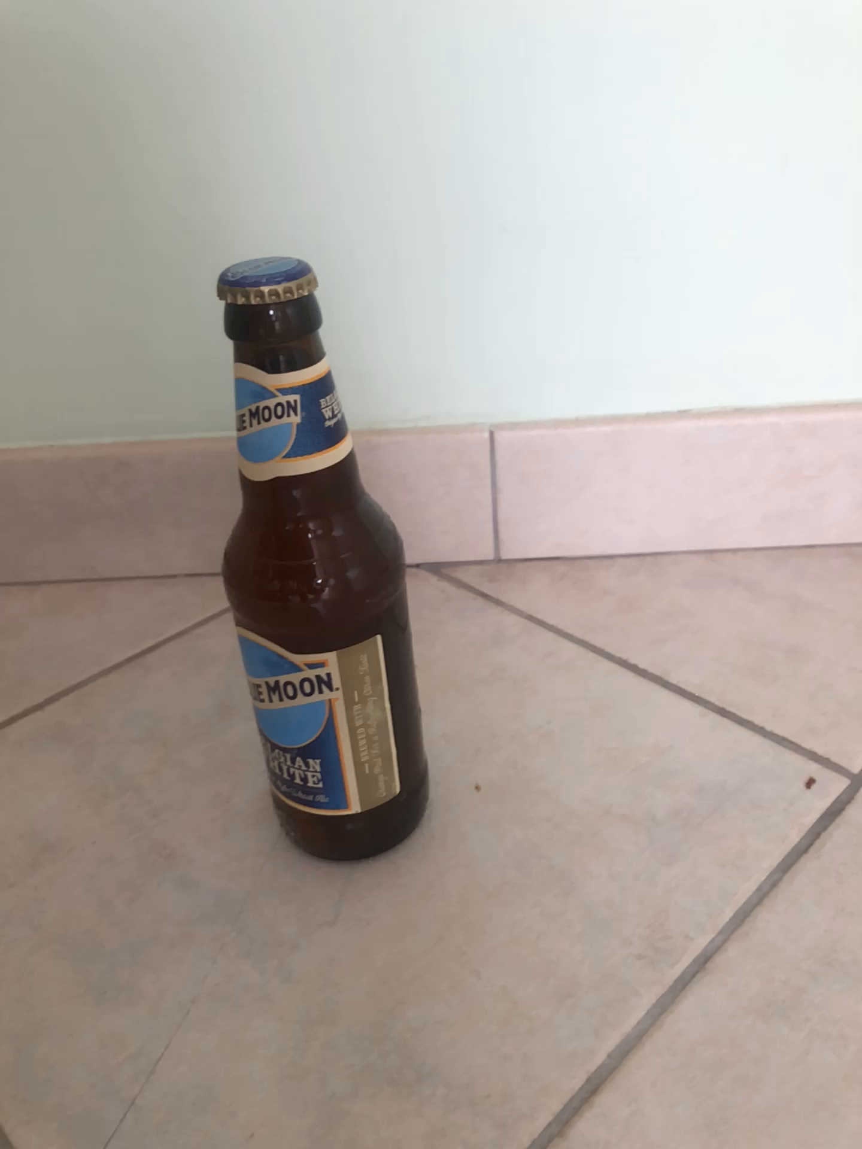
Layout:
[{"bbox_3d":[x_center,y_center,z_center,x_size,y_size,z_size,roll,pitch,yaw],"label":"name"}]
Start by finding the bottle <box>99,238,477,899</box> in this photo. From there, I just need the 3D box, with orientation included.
[{"bbox_3d":[-0.038,0.003,0.331,0.070,0.209,0.070,-4,32,2],"label":"bottle"}]
